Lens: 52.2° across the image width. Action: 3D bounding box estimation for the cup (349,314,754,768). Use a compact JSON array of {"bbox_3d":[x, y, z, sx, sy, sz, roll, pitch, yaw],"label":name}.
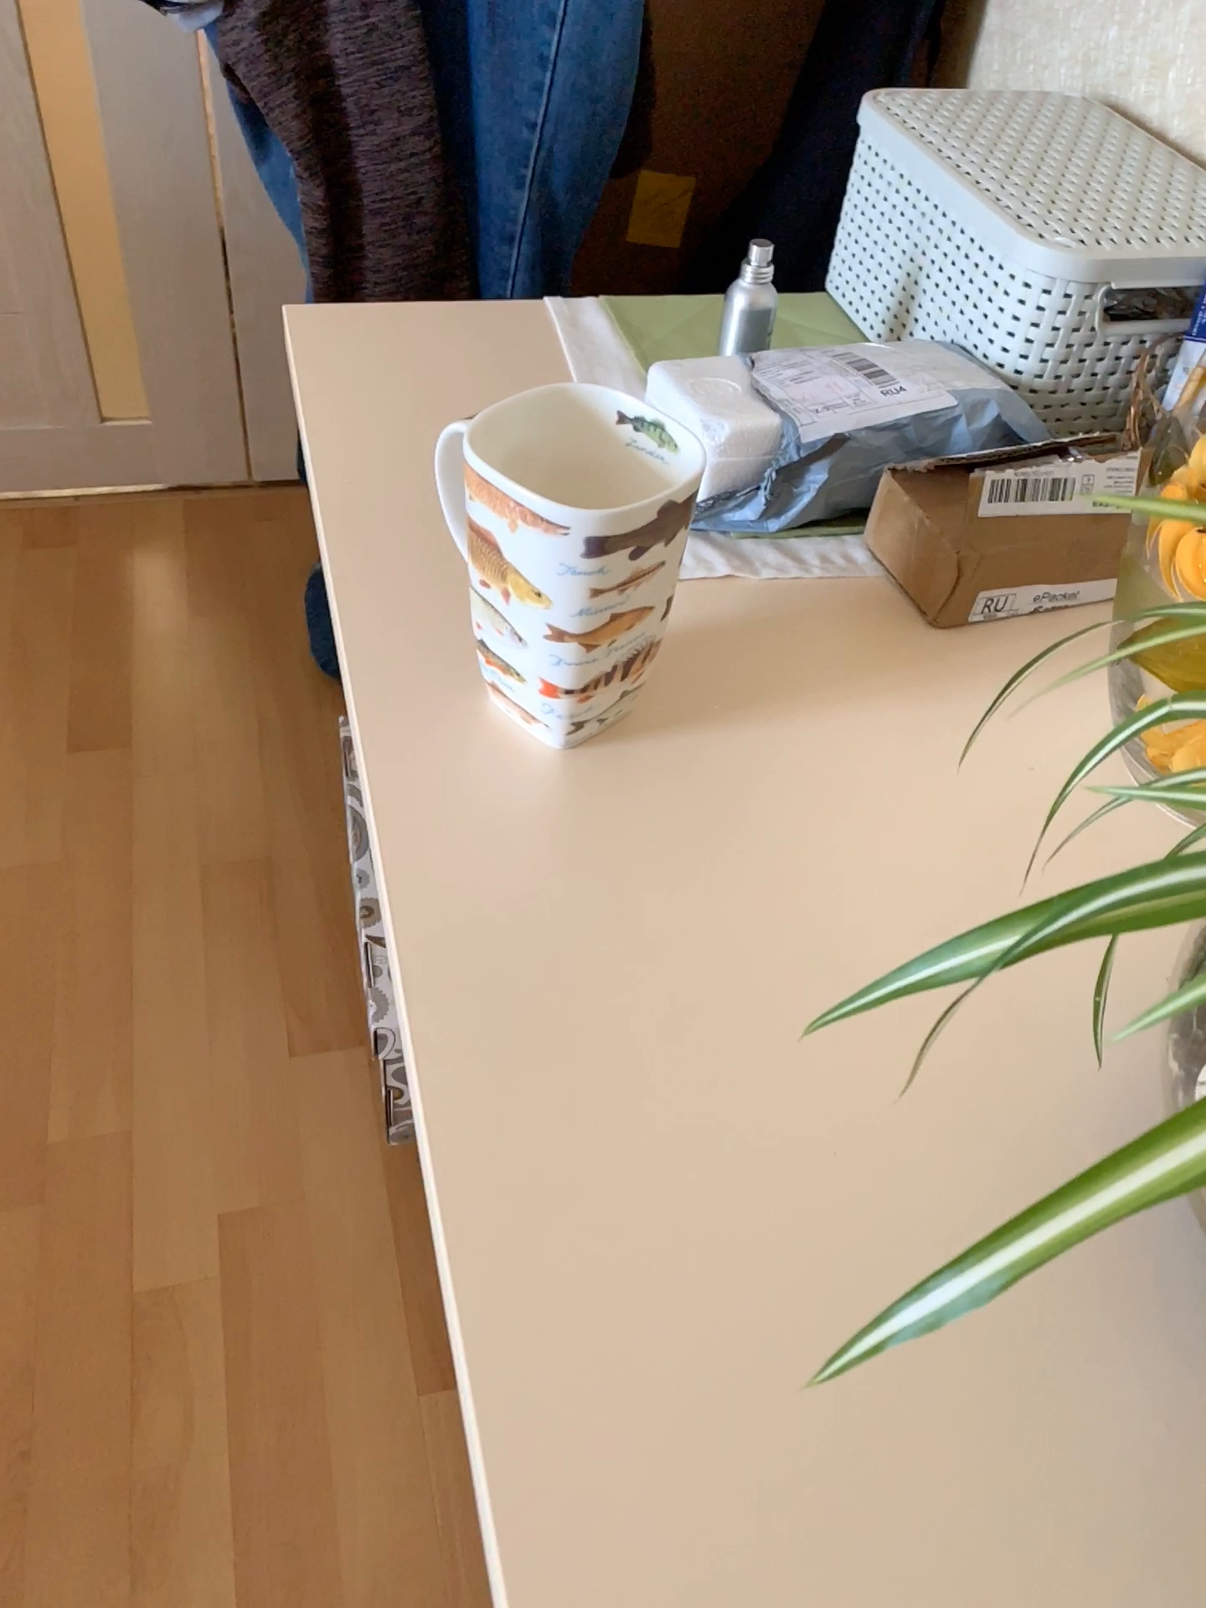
[{"bbox_3d":[-0.027,-0.117,0.539,0.139,0.121,0.092,36,52,25],"label":"cup"}]
